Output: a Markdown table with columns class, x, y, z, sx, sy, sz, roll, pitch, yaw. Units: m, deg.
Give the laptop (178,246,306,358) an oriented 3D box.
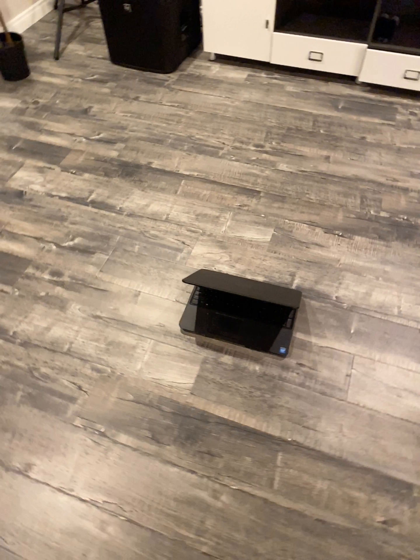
| class | x | y | z | sx | sy | sz | roll | pitch | yaw |
| --- | --- | --- | --- | --- | --- | --- | --- | --- | --- |
| laptop | 0.105 | 0.065 | 1.382 | 0.352 | 0.170 | 0.231 | 14 | 53 | 11 |
